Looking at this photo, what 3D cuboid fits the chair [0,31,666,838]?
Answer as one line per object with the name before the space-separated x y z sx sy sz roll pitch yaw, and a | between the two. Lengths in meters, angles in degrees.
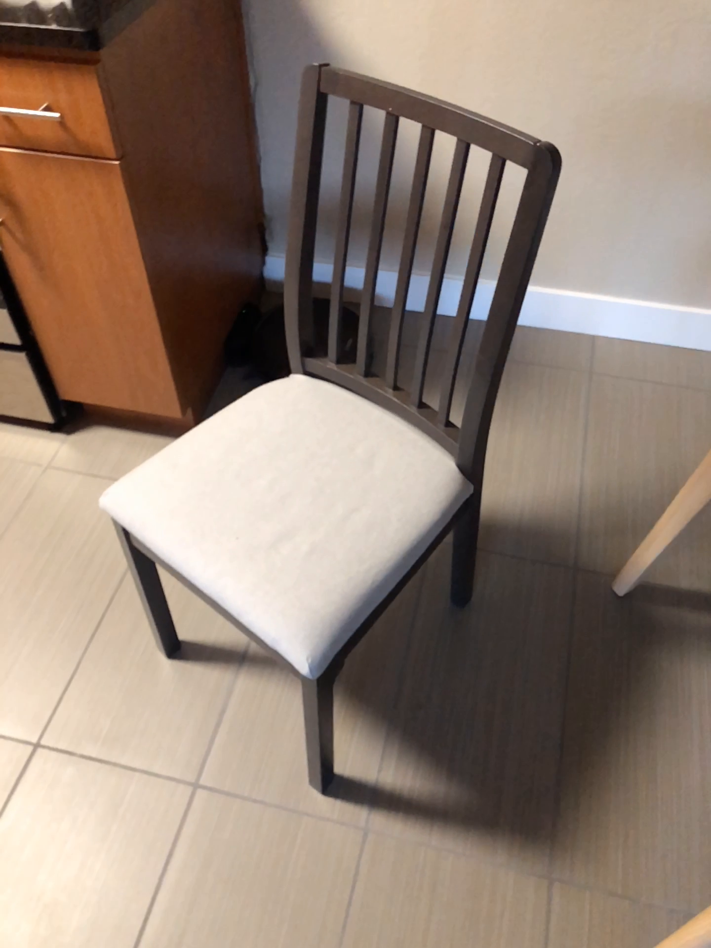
chair | -0.069 -0.037 1.157 0.581 0.847 0.591 32 56 26
